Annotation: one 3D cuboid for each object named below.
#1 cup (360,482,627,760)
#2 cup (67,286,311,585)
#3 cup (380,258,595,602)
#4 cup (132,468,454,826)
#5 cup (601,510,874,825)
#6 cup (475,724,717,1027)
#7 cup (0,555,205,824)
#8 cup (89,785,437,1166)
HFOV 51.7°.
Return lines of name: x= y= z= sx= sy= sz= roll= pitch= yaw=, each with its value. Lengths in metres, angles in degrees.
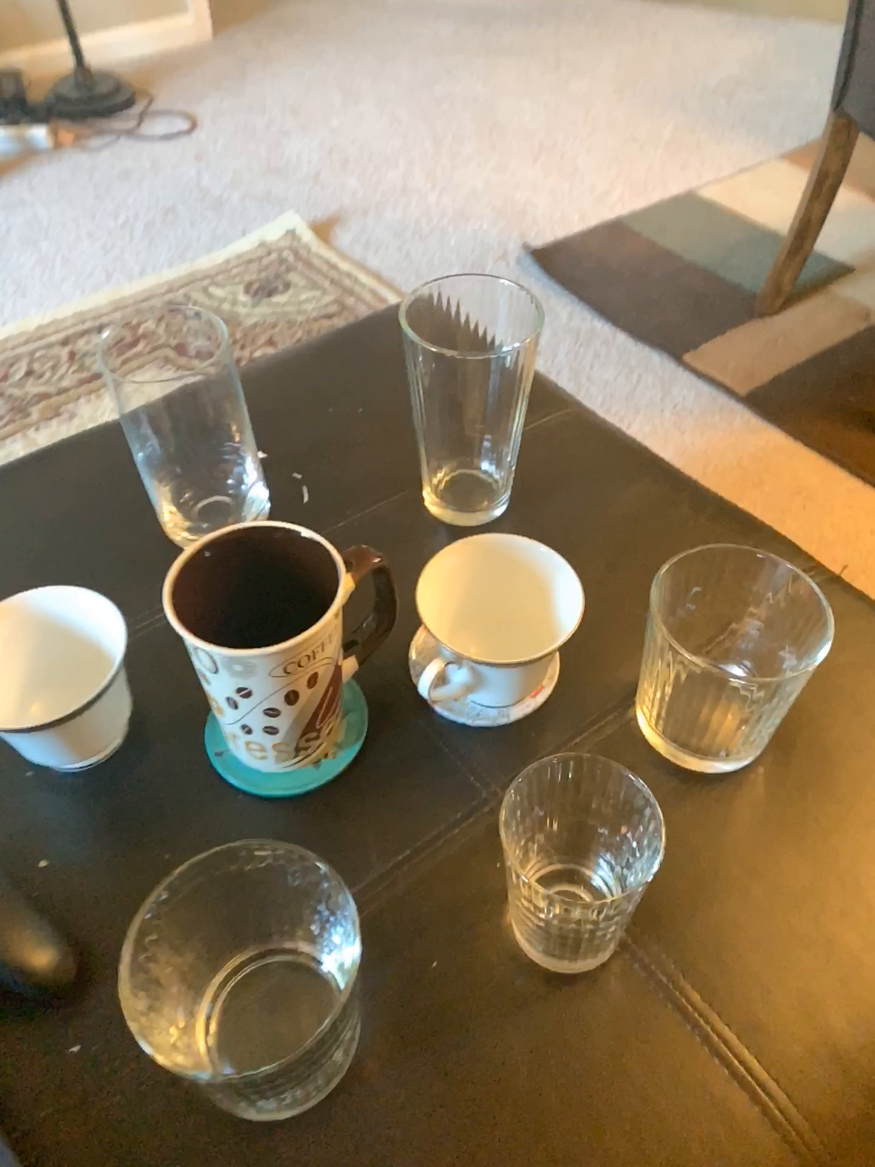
cup: x=0.031 y=0.018 z=0.500 sx=0.090 sy=0.070 sz=0.110 roll=35 pitch=57 yaw=28
cup: x=-0.152 y=-0.093 z=0.576 sx=0.090 sy=0.139 sz=0.090 roll=0 pitch=48 yaw=0
cup: x=0.030 y=-0.098 z=0.606 sx=0.090 sy=0.189 sz=0.090 roll=0 pitch=48 yaw=0
cup: x=-0.070 y=0.033 z=0.489 sx=0.130 sy=0.119 sz=0.090 roll=-31 pitch=54 yaw=-25
cup: x=0.162 y=0.047 z=0.499 sx=0.090 sy=0.119 sz=0.090 roll=0 pitch=48 yaw=0
cup: x=0.068 y=0.134 z=0.412 sx=0.070 sy=0.100 sz=0.070 roll=0 pitch=48 yaw=0
cup: x=-0.204 y=0.055 z=0.487 sx=0.110 sy=0.080 sz=0.090 roll=14 pitch=49 yaw=13
cup: x=-0.064 y=0.171 z=0.375 sx=0.090 sy=0.119 sz=0.090 roll=0 pitch=48 yaw=0
